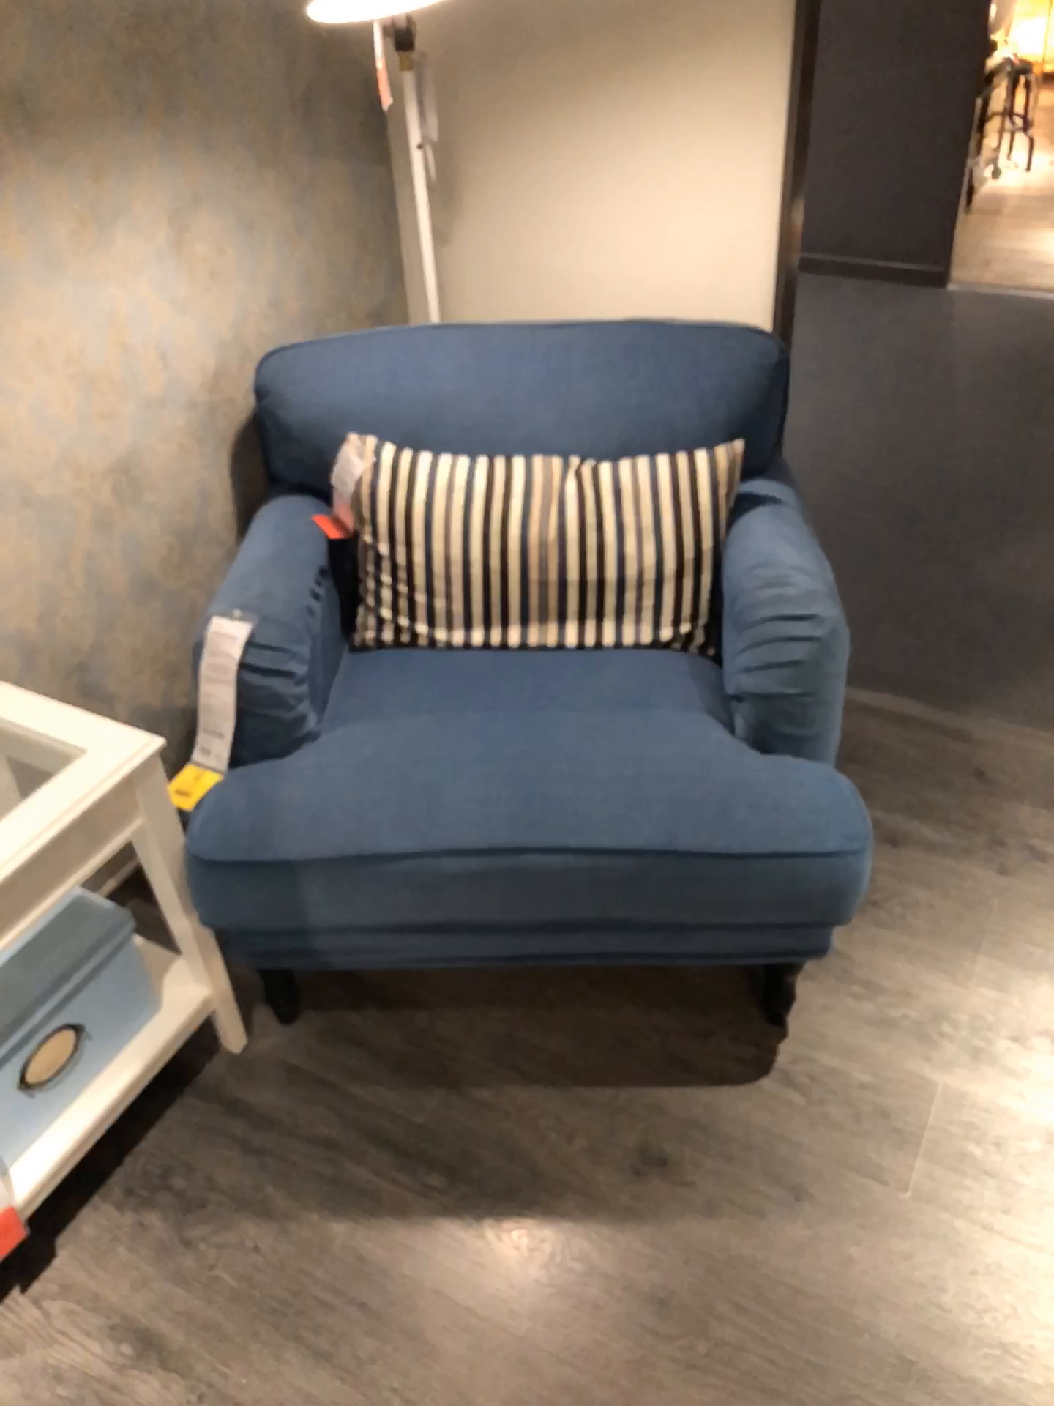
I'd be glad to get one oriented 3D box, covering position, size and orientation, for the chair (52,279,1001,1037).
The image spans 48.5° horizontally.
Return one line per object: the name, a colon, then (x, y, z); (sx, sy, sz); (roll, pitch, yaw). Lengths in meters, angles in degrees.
chair: (0.020, -0.090, 1.623); (0.890, 0.695, 0.805); (-1, 37, 3)
